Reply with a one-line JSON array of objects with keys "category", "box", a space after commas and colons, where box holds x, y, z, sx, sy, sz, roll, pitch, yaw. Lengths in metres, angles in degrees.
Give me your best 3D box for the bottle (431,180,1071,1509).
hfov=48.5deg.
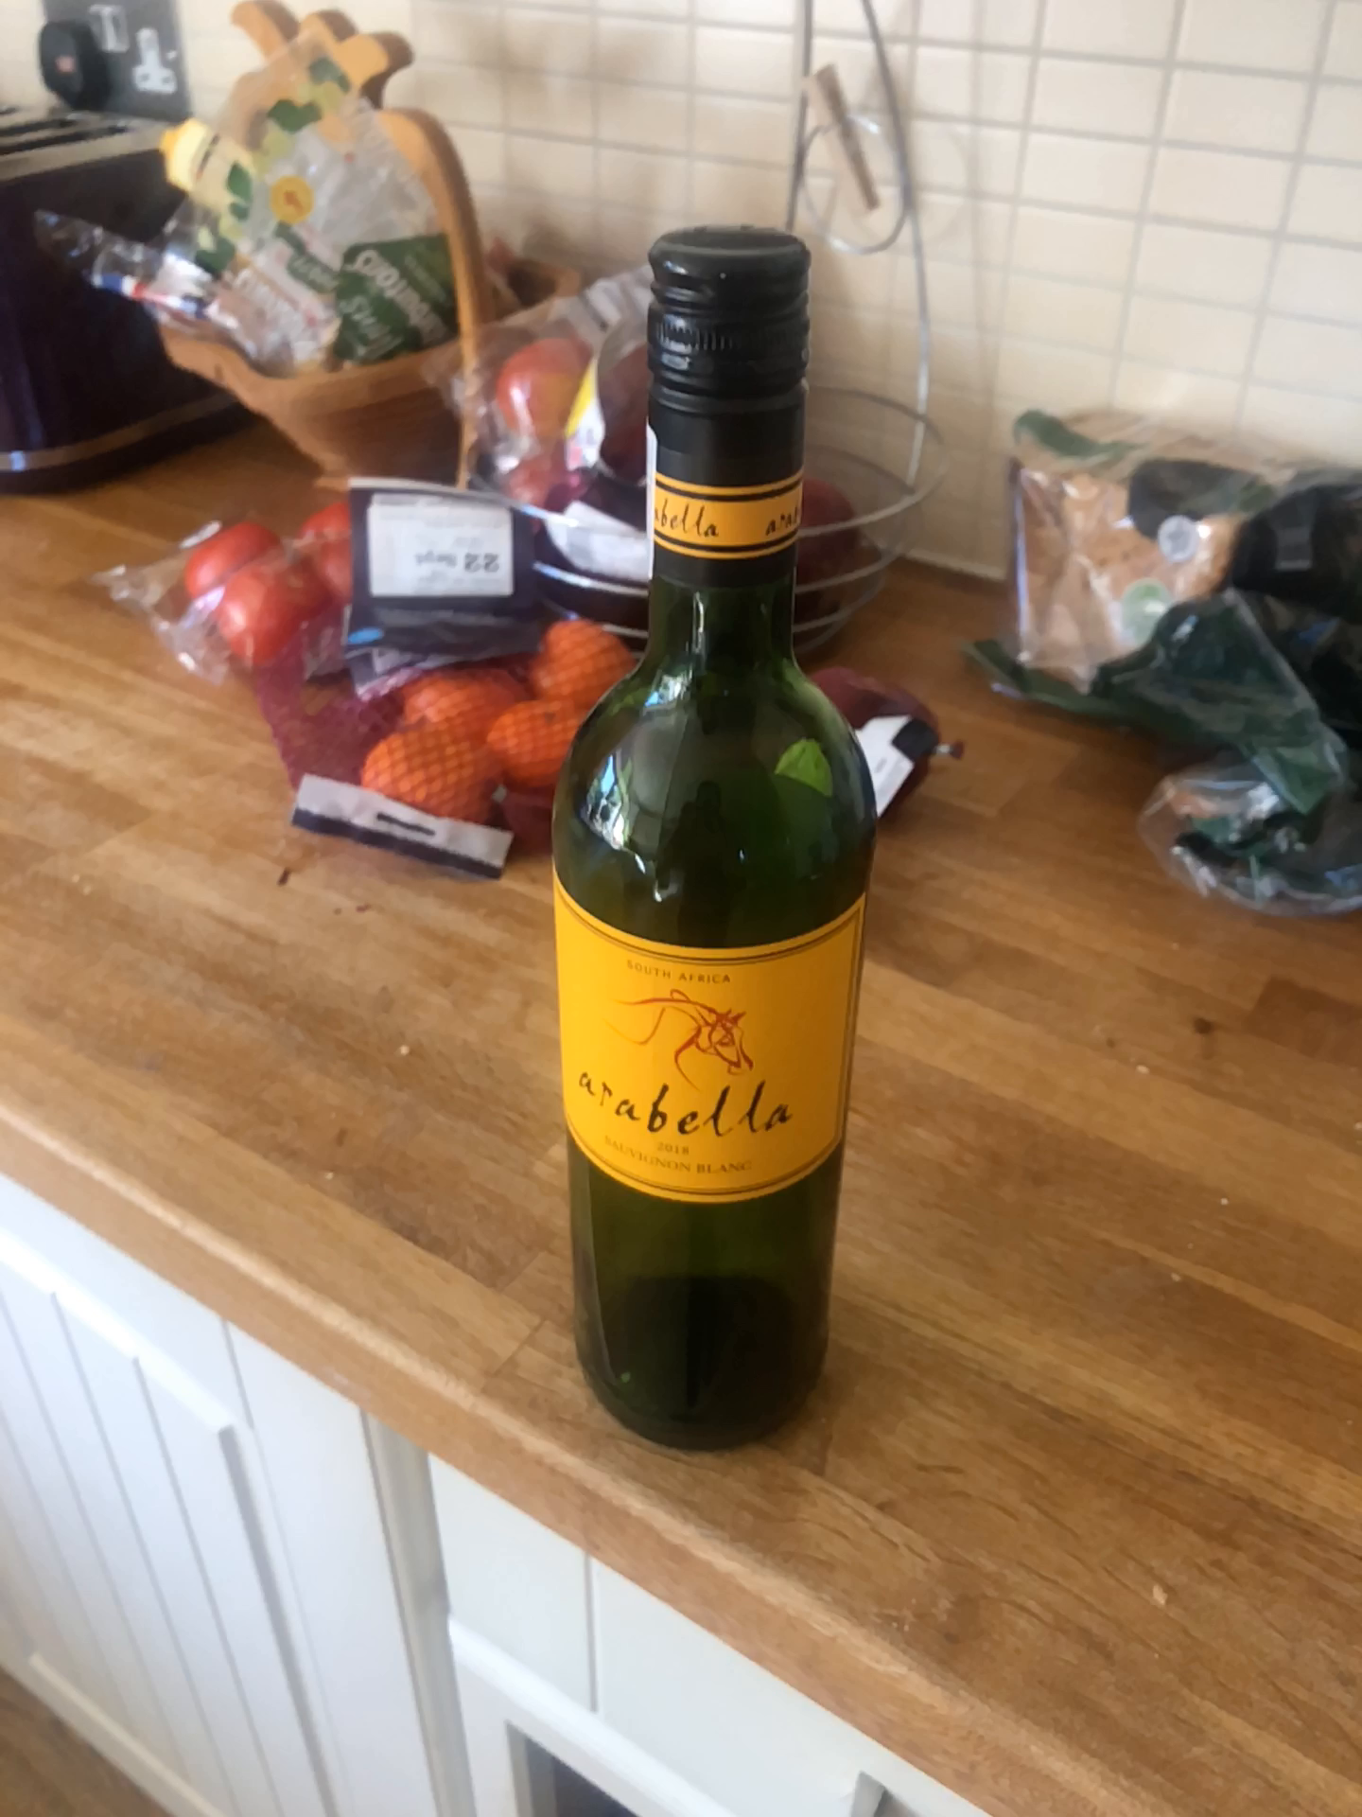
[{"category": "bottle", "box": [0.016, 0.002, 0.359, 0.090, 0.297, 0.091, 0, 35, 0]}]
